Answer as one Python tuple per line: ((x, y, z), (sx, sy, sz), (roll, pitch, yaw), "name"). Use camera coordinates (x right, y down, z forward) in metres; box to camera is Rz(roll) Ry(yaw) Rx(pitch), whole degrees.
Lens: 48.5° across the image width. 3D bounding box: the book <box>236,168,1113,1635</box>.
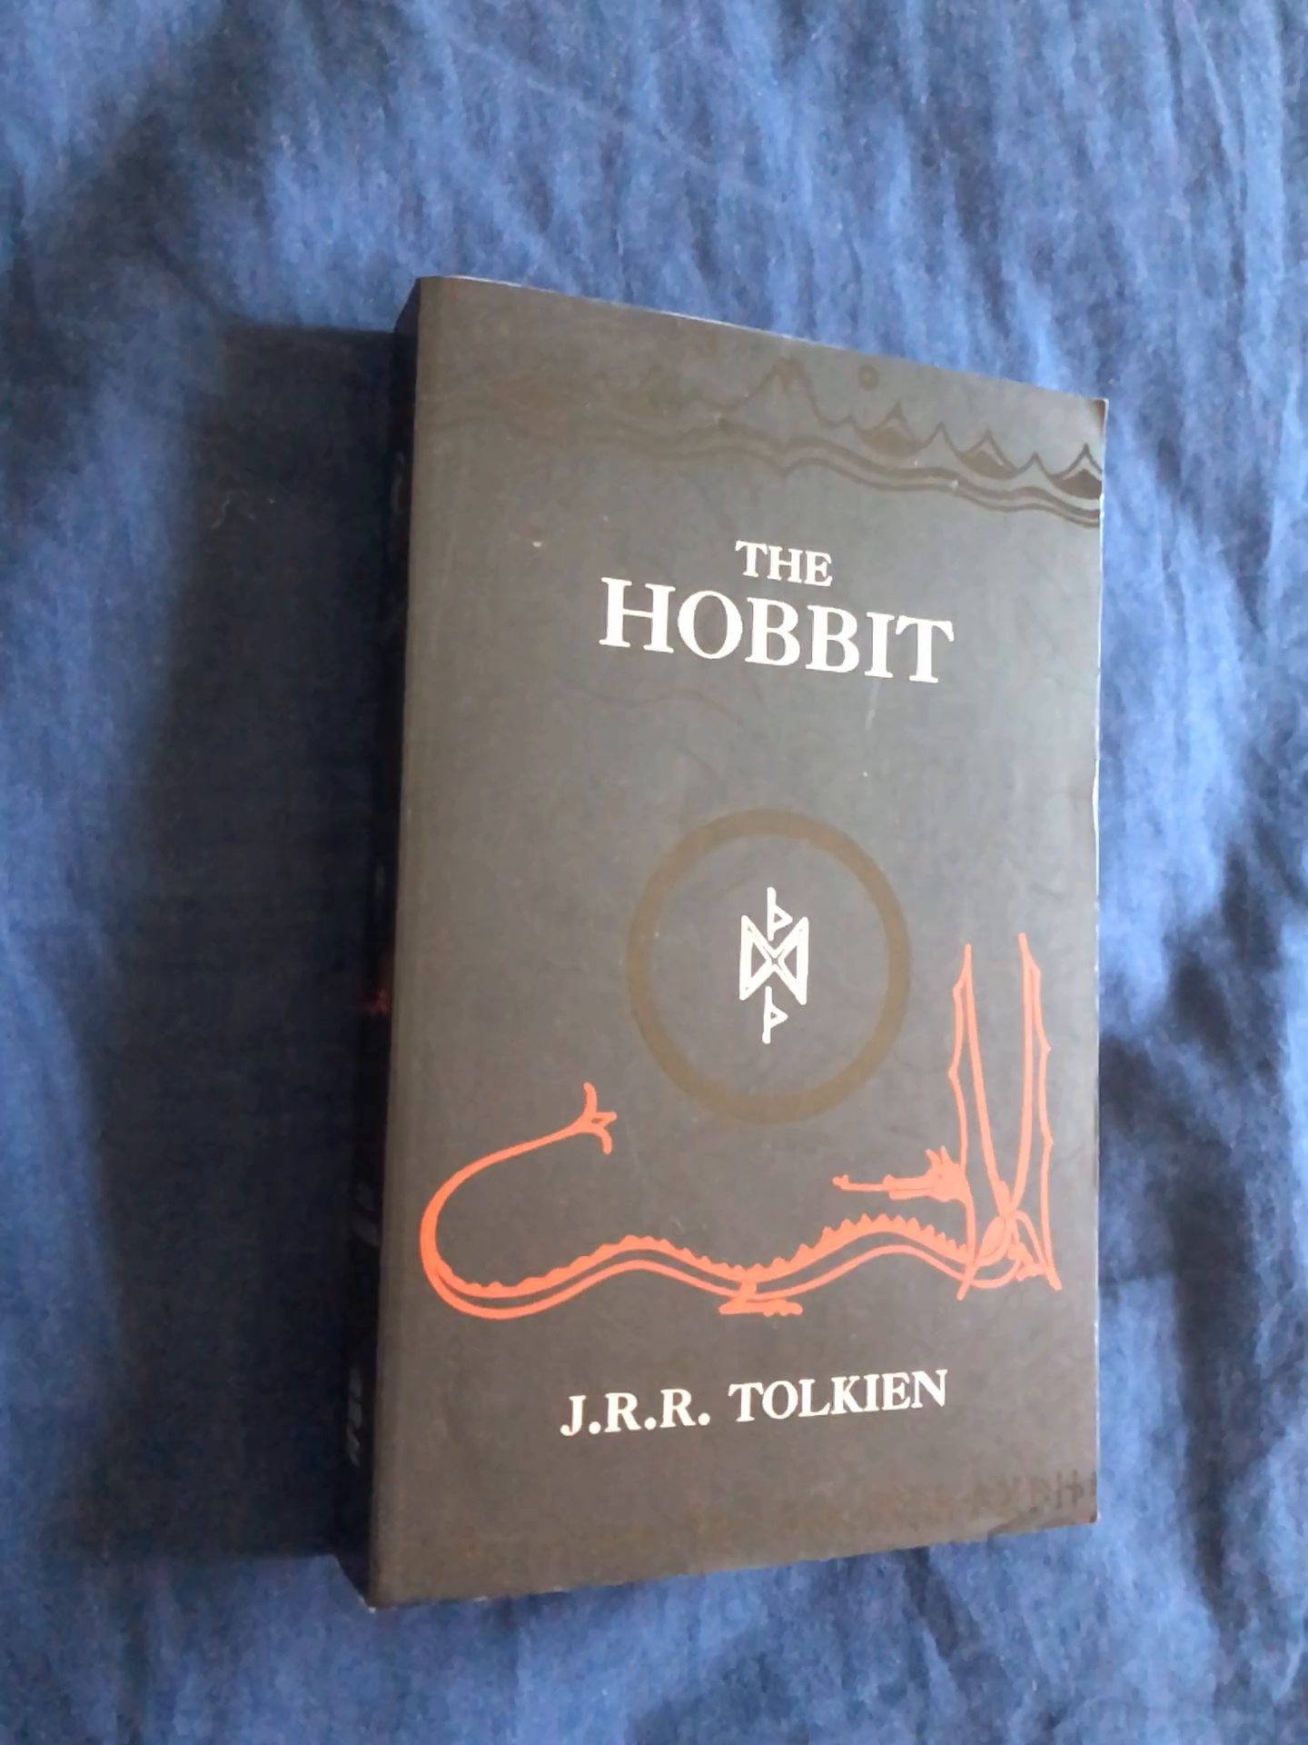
((0.006, 0.004, 0.218), (0.120, 0.040, 0.180), (3, 84, -21), "book")
